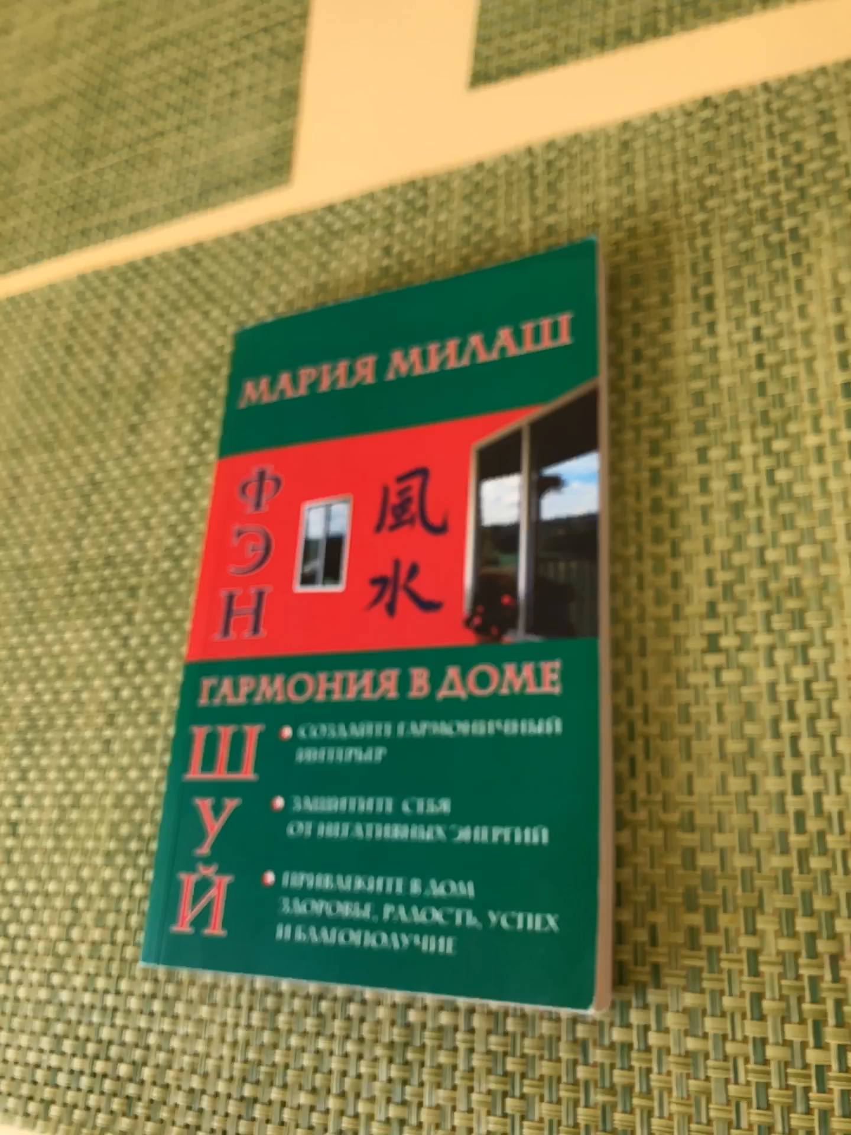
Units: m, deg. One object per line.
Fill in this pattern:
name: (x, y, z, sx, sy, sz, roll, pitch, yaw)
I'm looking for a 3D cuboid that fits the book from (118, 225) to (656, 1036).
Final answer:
book: (-0.009, 0.010, 0.266, 0.137, 0.020, 0.200, -6, 67, 26)
